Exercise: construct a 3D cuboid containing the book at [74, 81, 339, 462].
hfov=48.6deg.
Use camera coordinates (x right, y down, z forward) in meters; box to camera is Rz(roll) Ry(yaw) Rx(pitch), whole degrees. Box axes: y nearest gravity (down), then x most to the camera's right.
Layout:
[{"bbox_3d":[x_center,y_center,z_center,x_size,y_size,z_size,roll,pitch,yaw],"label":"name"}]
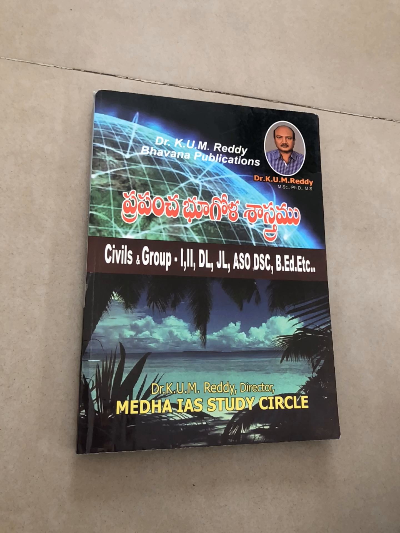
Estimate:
[{"bbox_3d":[0.006,-0.002,0.332,0.180,0.030,0.260,2,78,-13],"label":"book"}]
